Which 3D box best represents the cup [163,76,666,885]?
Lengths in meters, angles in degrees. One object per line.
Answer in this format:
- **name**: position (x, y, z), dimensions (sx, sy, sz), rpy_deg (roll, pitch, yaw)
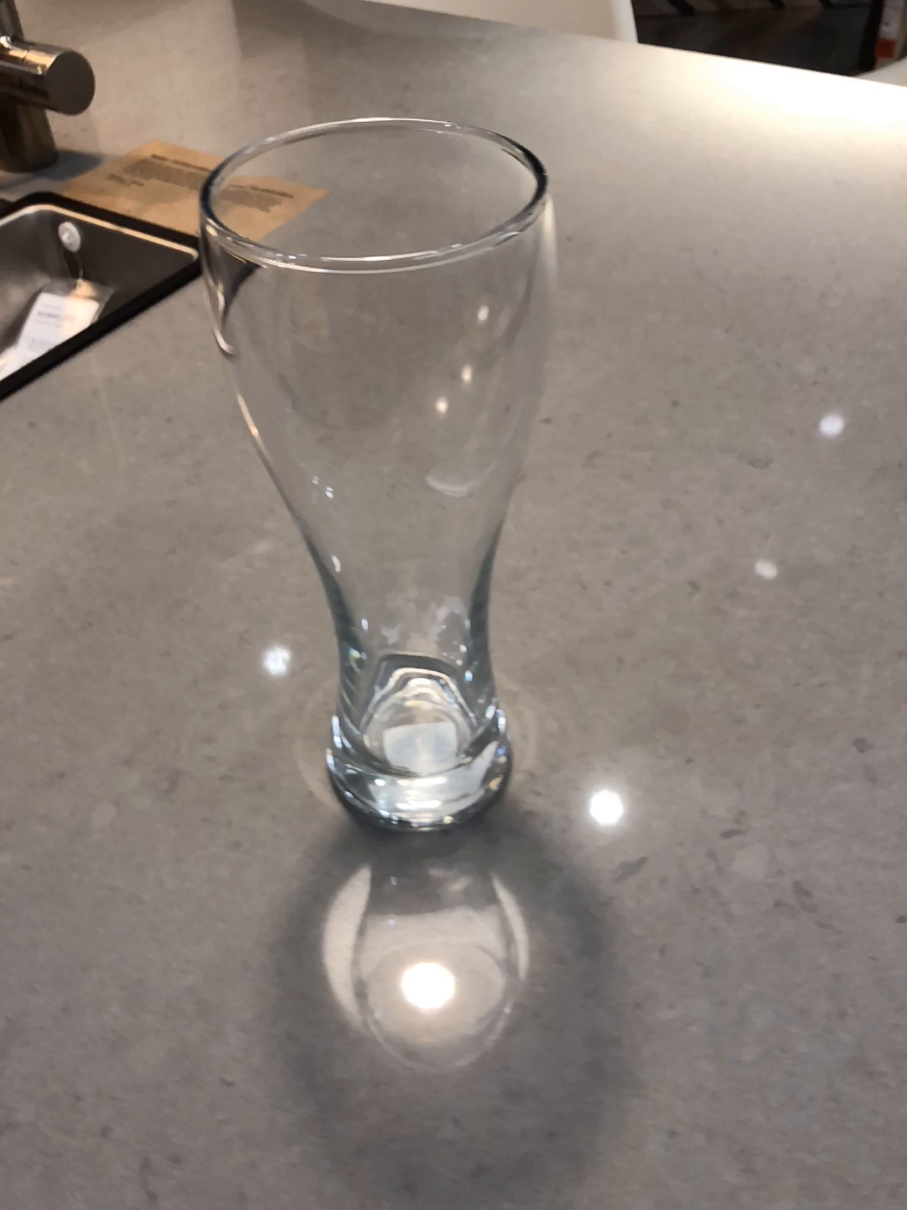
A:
- **cup**: position (-0.013, -0.024, 0.312), dimensions (0.100, 0.219, 0.100), rpy_deg (-1, 45, 1)
